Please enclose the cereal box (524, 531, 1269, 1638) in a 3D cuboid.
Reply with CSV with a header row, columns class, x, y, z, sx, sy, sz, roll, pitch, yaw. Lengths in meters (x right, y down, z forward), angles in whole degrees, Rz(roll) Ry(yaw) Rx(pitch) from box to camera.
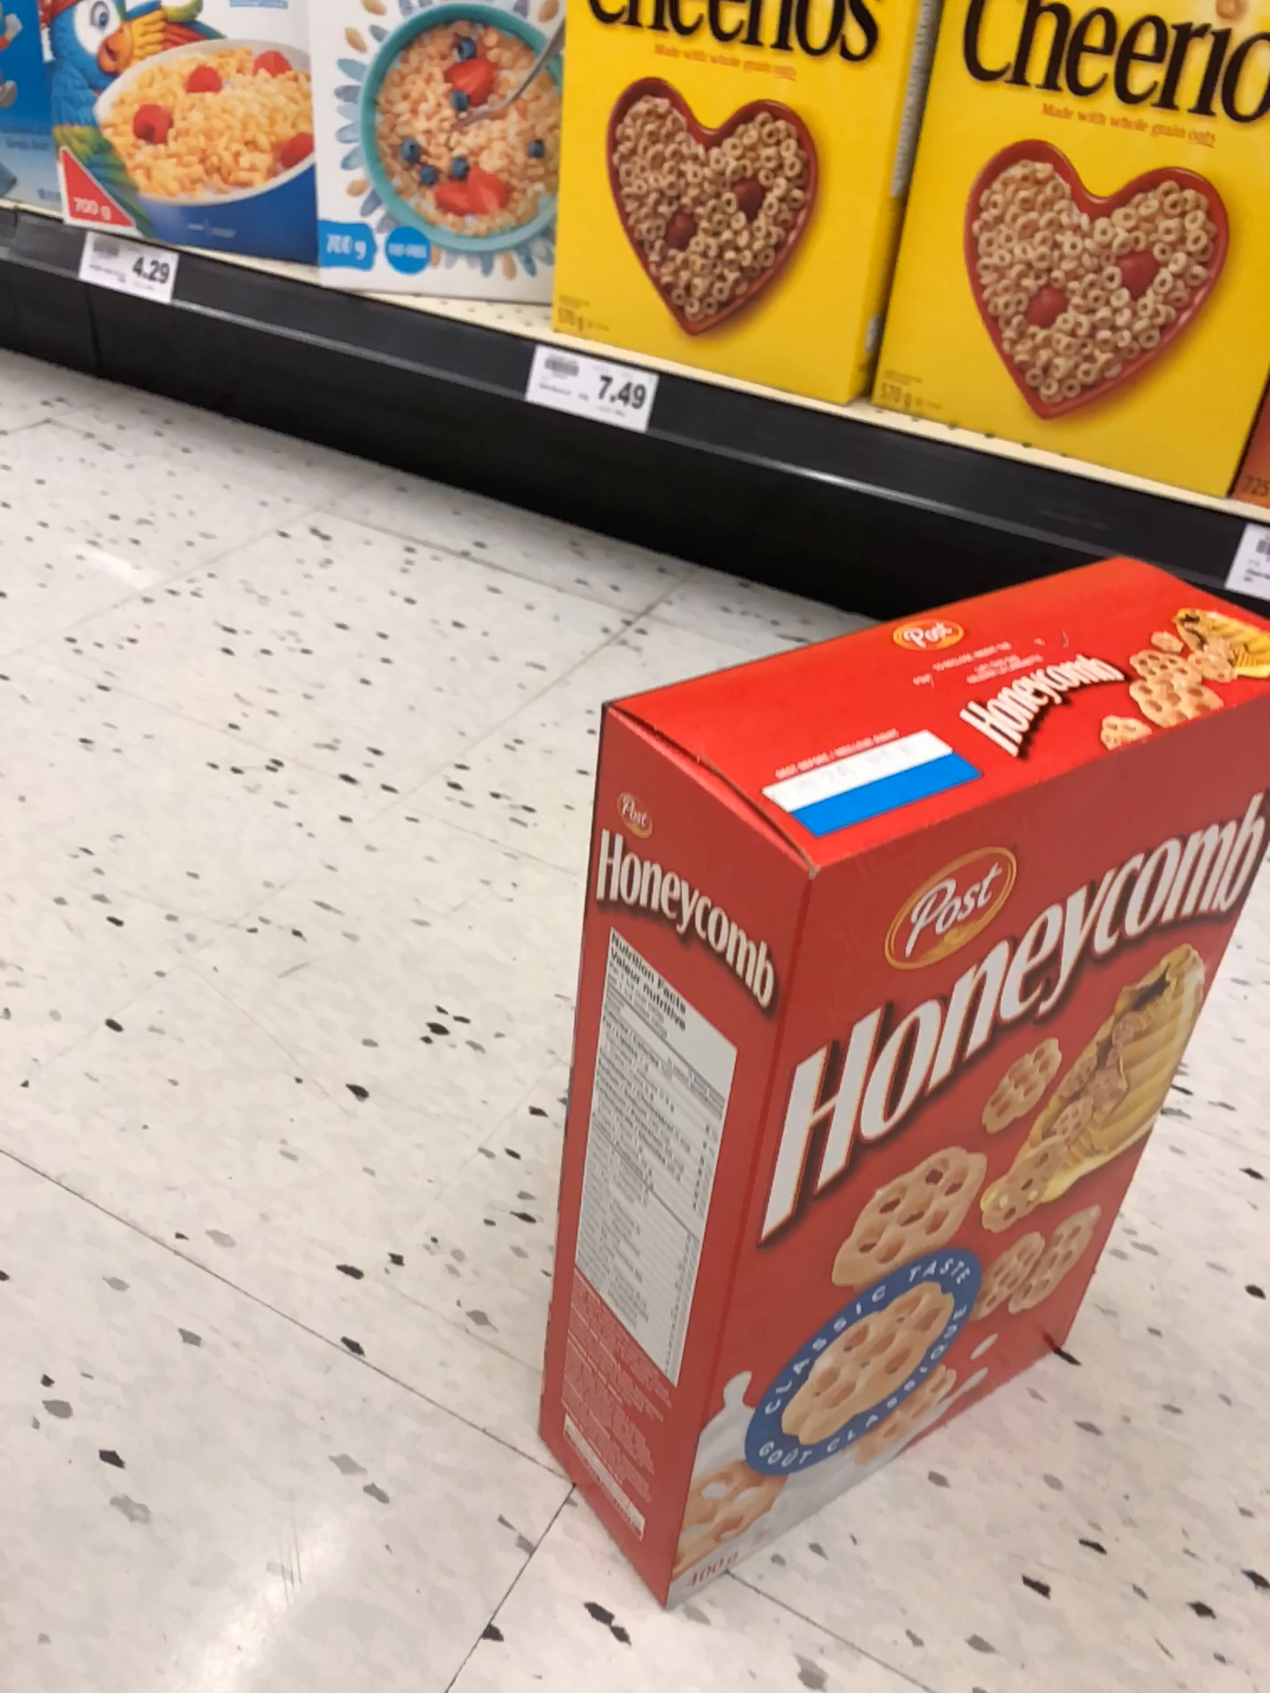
class,x,y,z,sx,sy,sz,roll,pitch,yaw
cereal box,0.080,0.076,0.424,0.200,0.298,0.080,-18,42,-30
